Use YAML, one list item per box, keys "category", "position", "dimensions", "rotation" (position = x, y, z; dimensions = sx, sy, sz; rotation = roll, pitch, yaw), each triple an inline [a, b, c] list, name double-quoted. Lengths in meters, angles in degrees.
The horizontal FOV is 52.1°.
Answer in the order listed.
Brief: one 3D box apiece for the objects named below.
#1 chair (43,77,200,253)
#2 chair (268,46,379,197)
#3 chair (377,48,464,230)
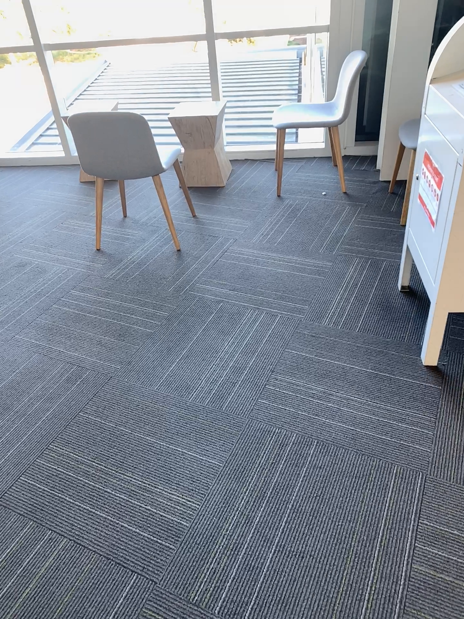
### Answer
- category: "chair"
  position: [-0.548, -0.805, 2.654]
  dimensions: [0.560, 0.765, 0.604]
  rotation: [1, 36, 8]
- category: "chair"
  position: [0.551, -1.223, 3.084]
  dimensions: [0.600, 0.745, 0.644]
  rotation: [-1, 36, 6]
- category: "chair"
  position: [1.207, -0.945, 2.629]
  dimensions: [0.600, 0.765, 0.644]
  rotation: [-1, 36, 6]
